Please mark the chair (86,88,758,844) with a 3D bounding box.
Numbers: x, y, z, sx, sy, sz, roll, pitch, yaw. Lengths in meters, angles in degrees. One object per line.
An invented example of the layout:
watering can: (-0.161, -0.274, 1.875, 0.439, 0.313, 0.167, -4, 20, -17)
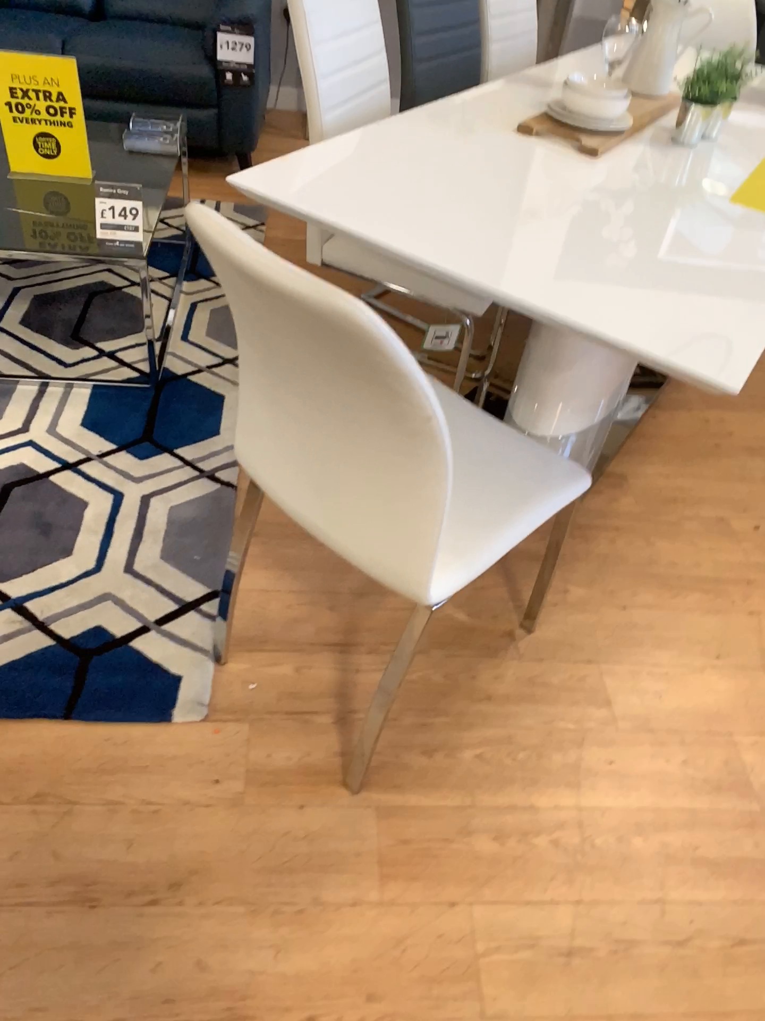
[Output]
chair: (0.032, -0.078, 1.223, 0.492, 0.881, 0.674, 37, 49, 27)
